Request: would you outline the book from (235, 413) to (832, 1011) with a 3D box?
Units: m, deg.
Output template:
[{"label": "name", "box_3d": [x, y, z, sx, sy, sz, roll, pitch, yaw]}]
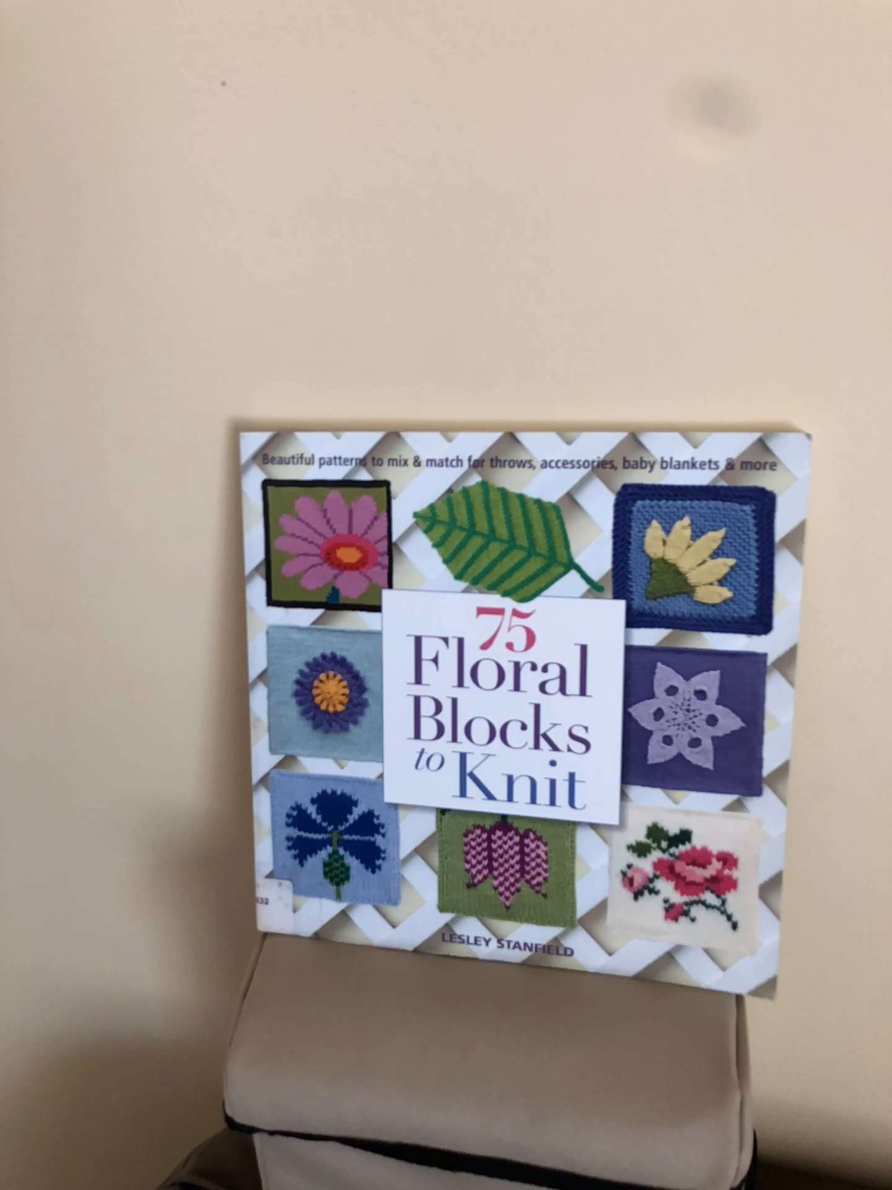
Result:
[{"label": "book", "box_3d": [0.024, 0.041, 0.383, 0.218, 0.215, 0.020, 4, 9, 12]}]
